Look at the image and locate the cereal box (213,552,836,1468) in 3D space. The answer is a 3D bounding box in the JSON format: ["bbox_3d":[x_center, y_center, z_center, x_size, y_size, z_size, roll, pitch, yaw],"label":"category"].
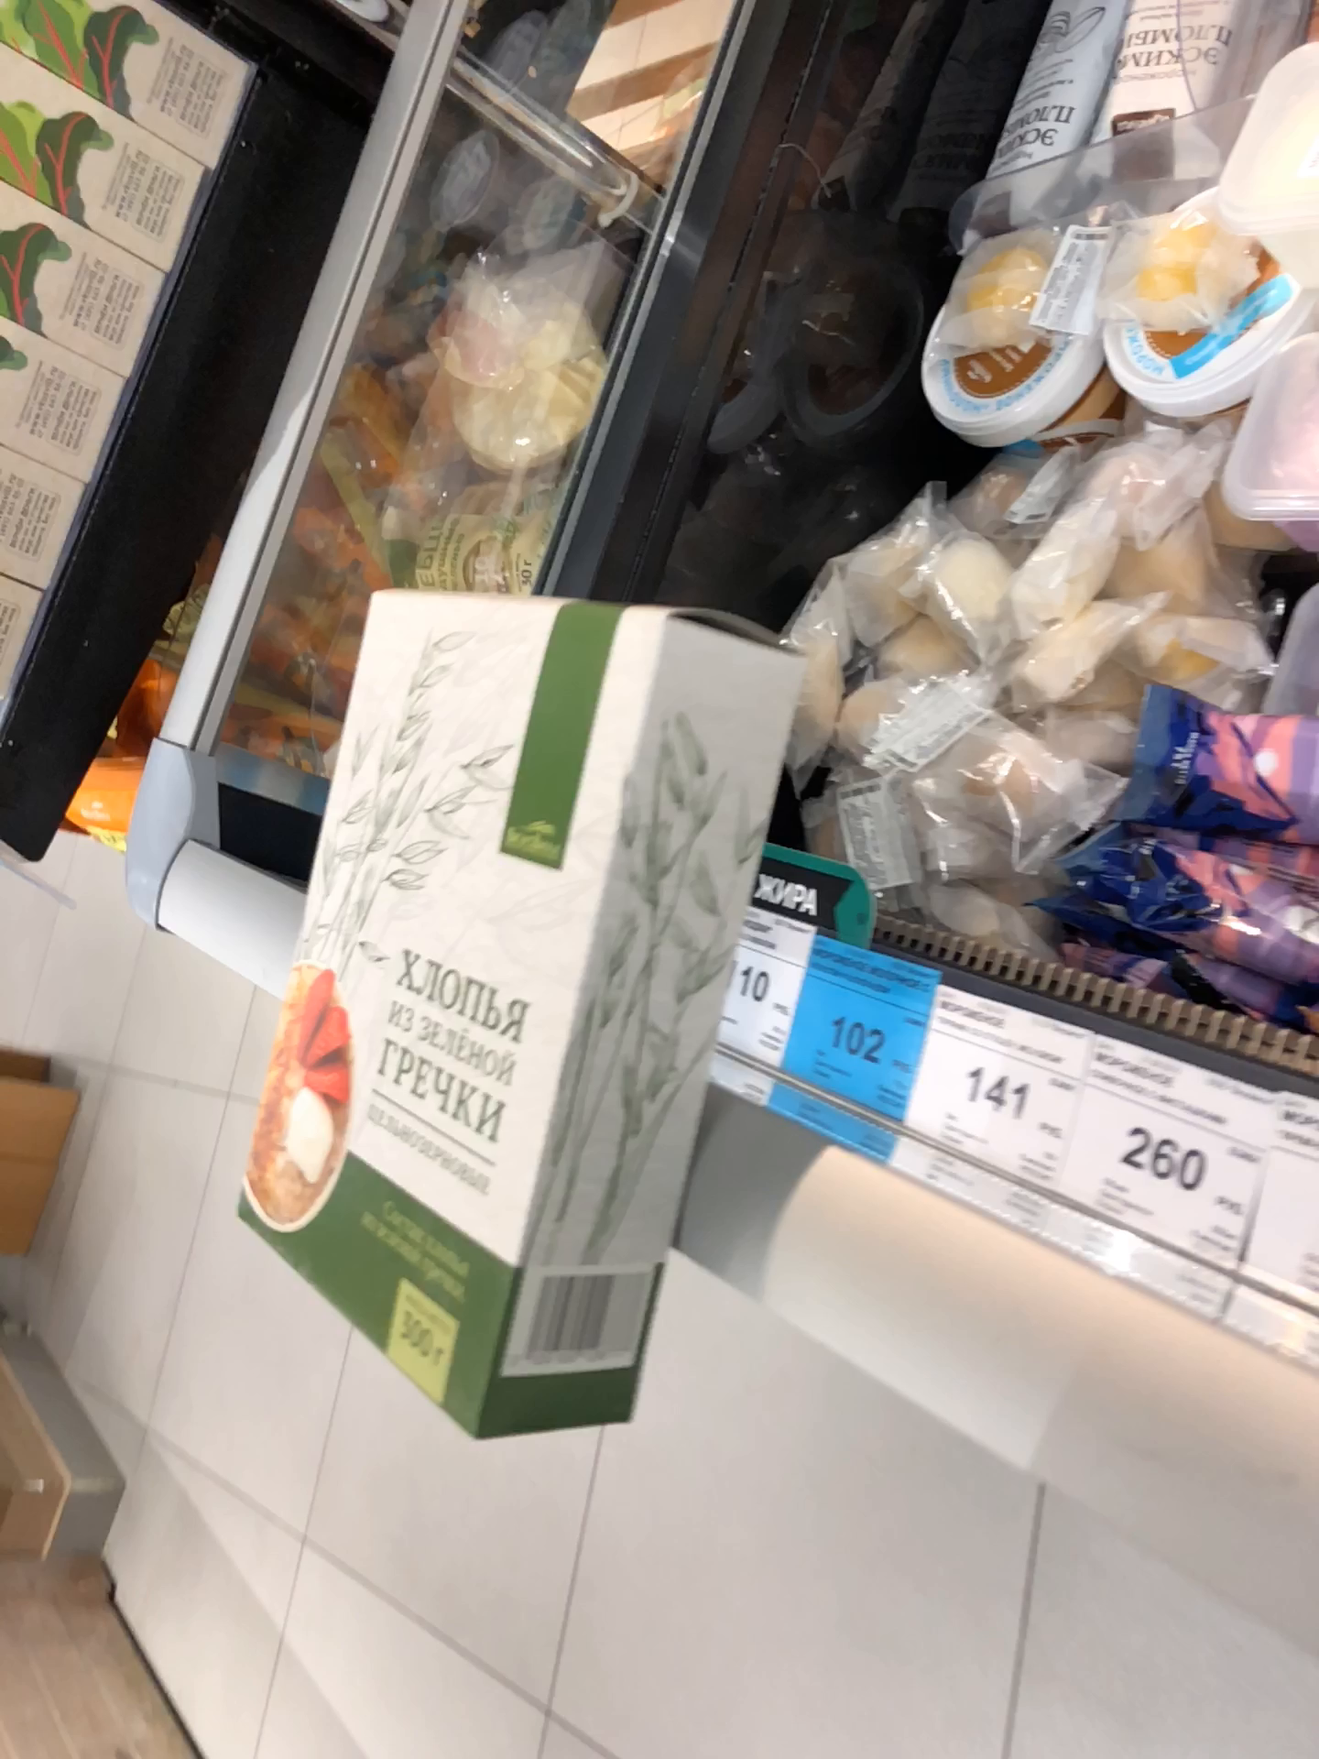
[{"bbox_3d":[-0.047,0.021,0.384,0.151,0.050,0.200,18,97,49],"label":"cereal box"}]
